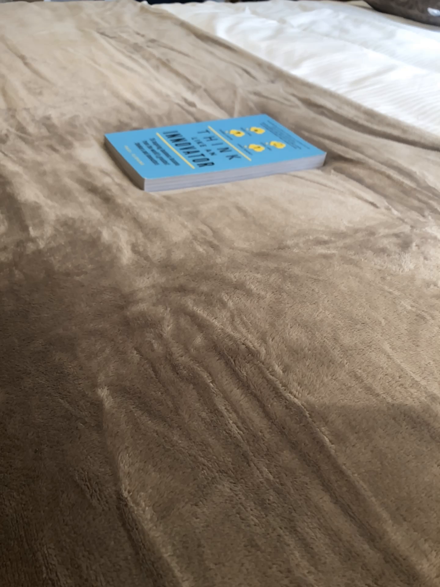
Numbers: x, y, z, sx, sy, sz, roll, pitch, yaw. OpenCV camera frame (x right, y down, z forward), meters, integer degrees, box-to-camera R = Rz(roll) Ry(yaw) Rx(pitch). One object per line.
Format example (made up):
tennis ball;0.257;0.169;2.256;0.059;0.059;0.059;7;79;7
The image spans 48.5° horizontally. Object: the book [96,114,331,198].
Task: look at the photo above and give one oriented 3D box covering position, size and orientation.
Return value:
book;-0.009;-0.161;0.545;0.221;0.020;0.140;-14;40;-24
